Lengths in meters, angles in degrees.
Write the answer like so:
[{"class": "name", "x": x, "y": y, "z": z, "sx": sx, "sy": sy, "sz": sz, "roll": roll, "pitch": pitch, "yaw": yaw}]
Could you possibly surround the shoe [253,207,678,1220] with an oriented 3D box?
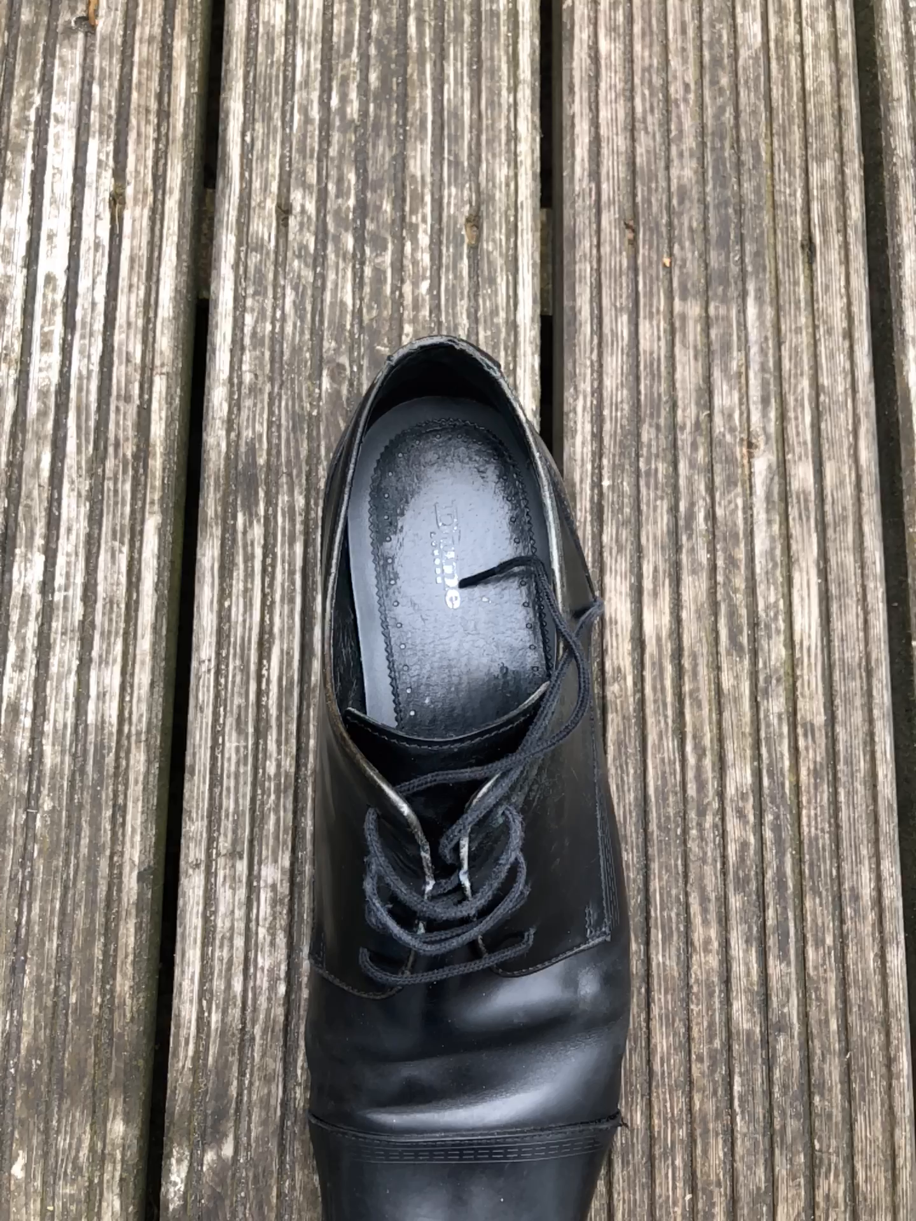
[{"class": "shoe", "x": -0.006, "y": 0.075, "z": 0.314, "sx": 0.090, "sy": 0.150, "sz": 0.340, "roll": 0, "pitch": 81, "yaw": -4}]
